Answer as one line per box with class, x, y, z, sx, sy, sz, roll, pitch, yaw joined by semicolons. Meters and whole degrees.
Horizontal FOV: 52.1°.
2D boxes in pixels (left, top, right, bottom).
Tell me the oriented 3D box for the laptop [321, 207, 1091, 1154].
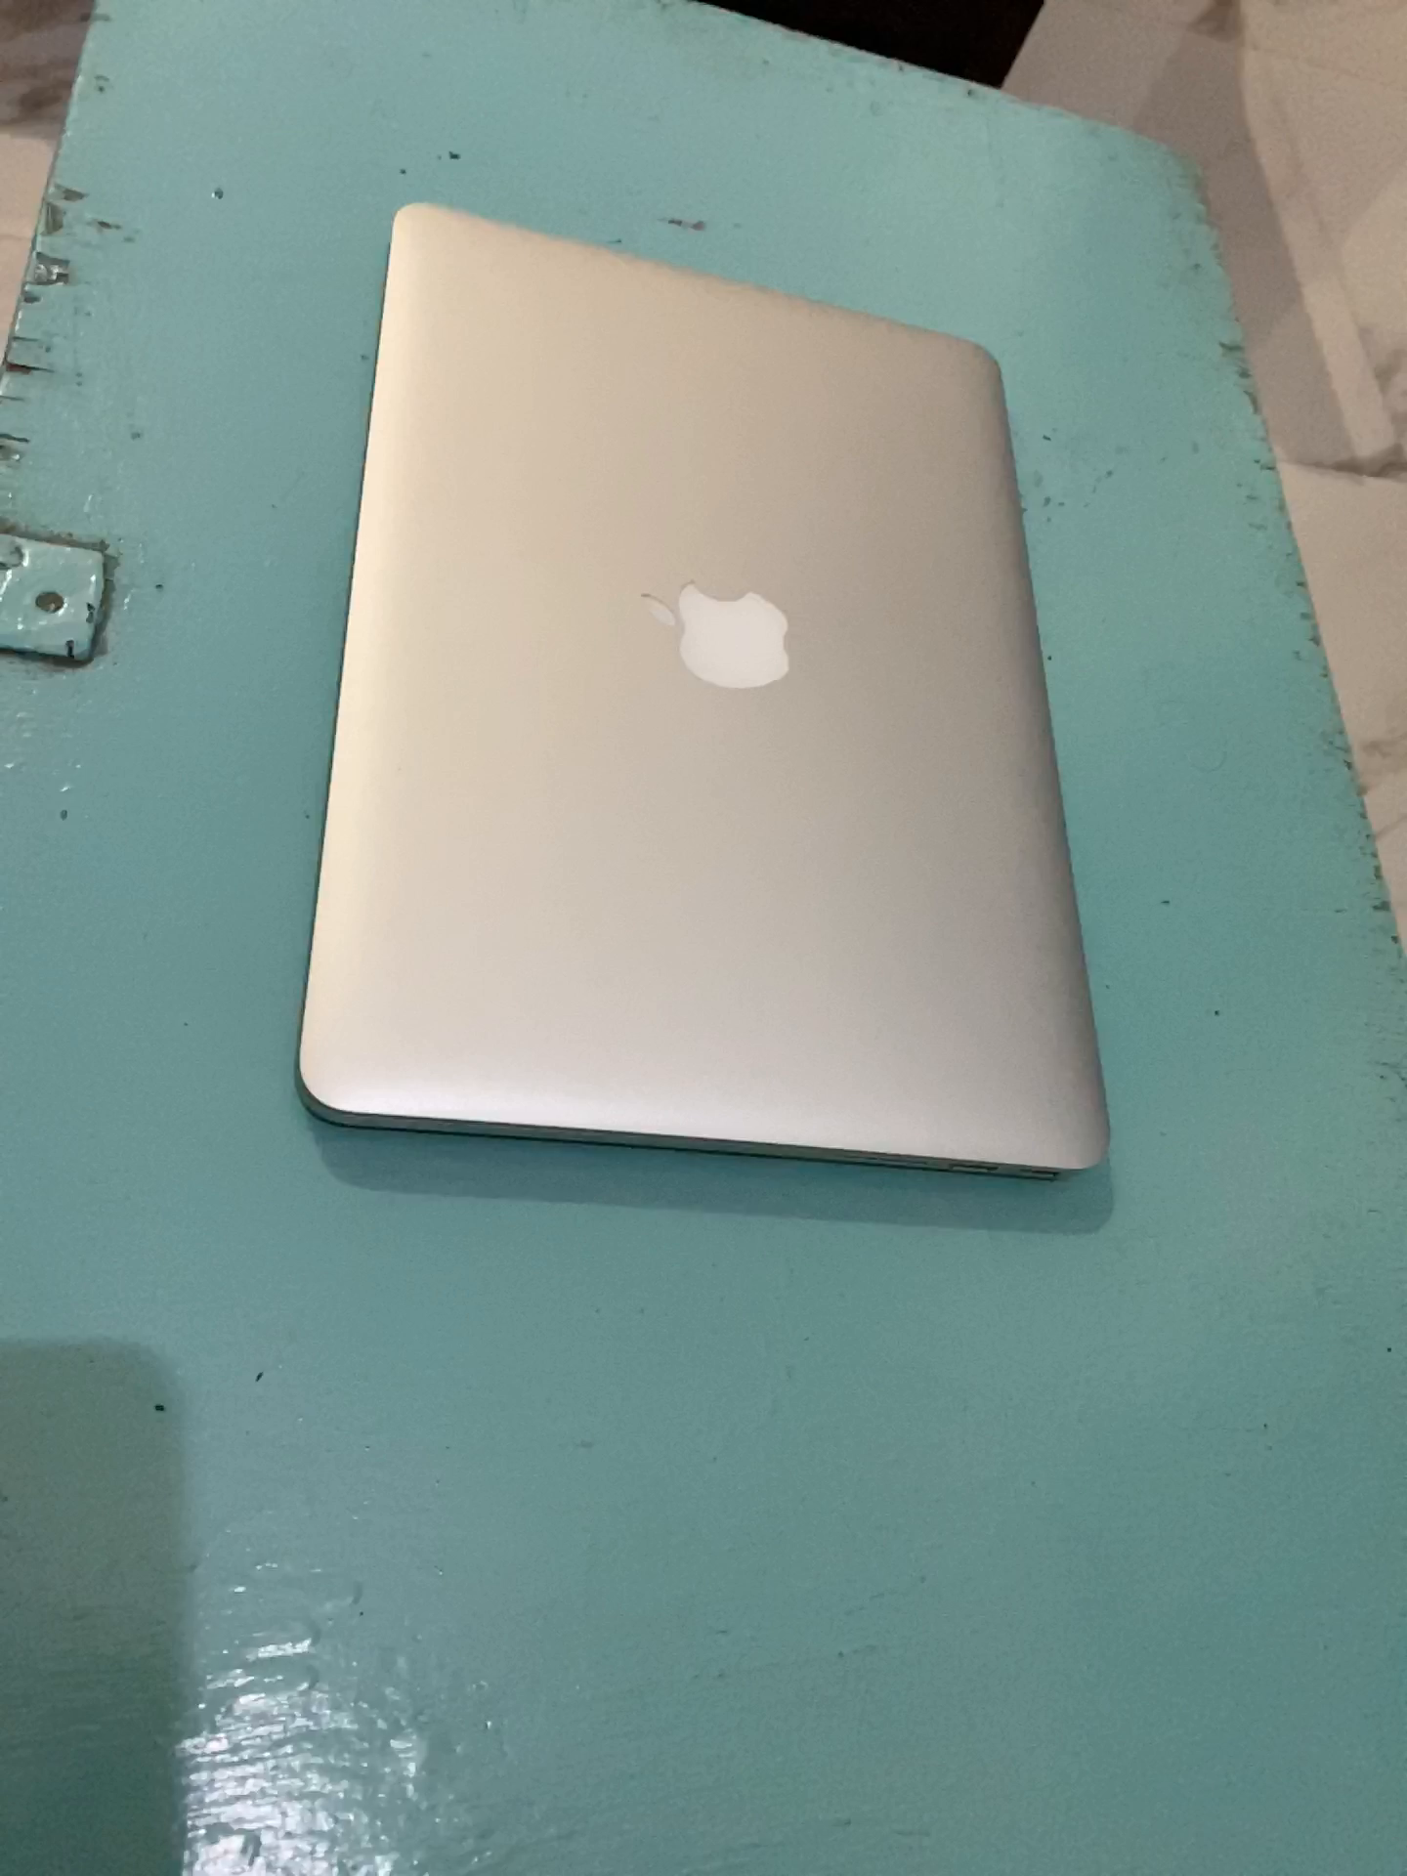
laptop;0.002;-0.085;0.432;0.209;0.007;0.292;7;64;-19
